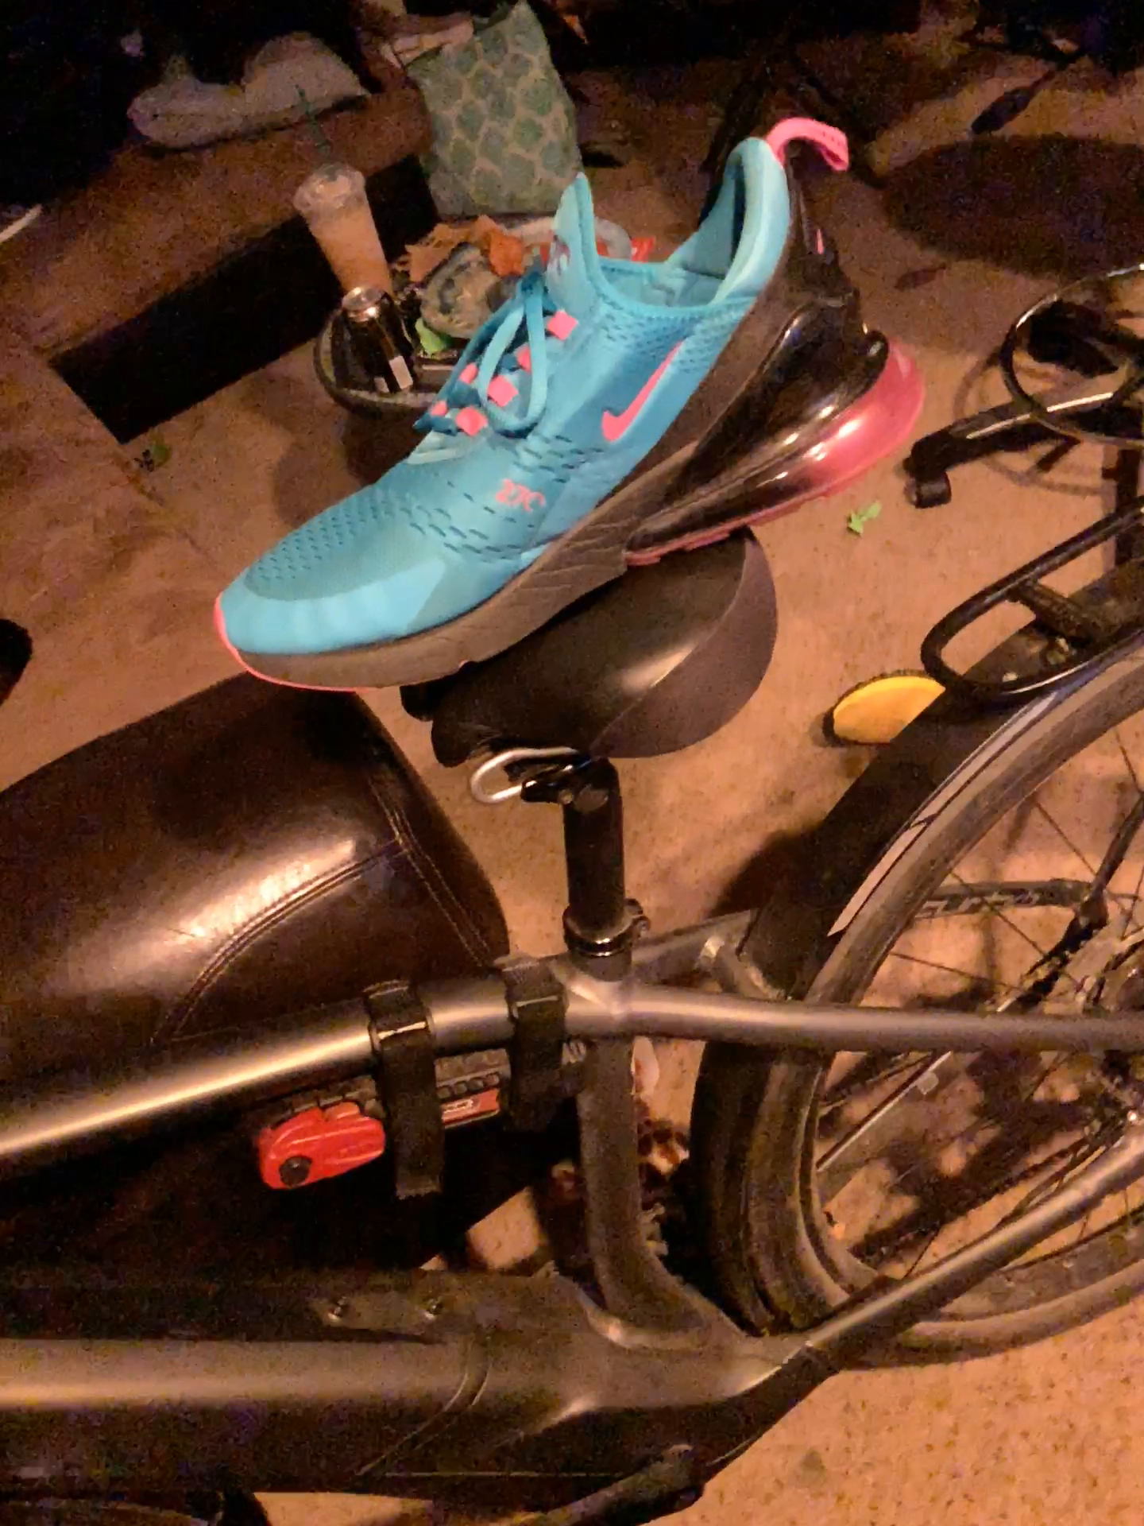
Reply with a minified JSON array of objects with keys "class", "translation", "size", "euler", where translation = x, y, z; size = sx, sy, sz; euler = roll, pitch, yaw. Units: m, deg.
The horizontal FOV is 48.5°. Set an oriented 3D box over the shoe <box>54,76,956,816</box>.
[{"class":"shoe","translation":[-0.023,-0.145,0.542],"size":[0.330,0.130,0.150],"euler":[-29,45,-9]}]
